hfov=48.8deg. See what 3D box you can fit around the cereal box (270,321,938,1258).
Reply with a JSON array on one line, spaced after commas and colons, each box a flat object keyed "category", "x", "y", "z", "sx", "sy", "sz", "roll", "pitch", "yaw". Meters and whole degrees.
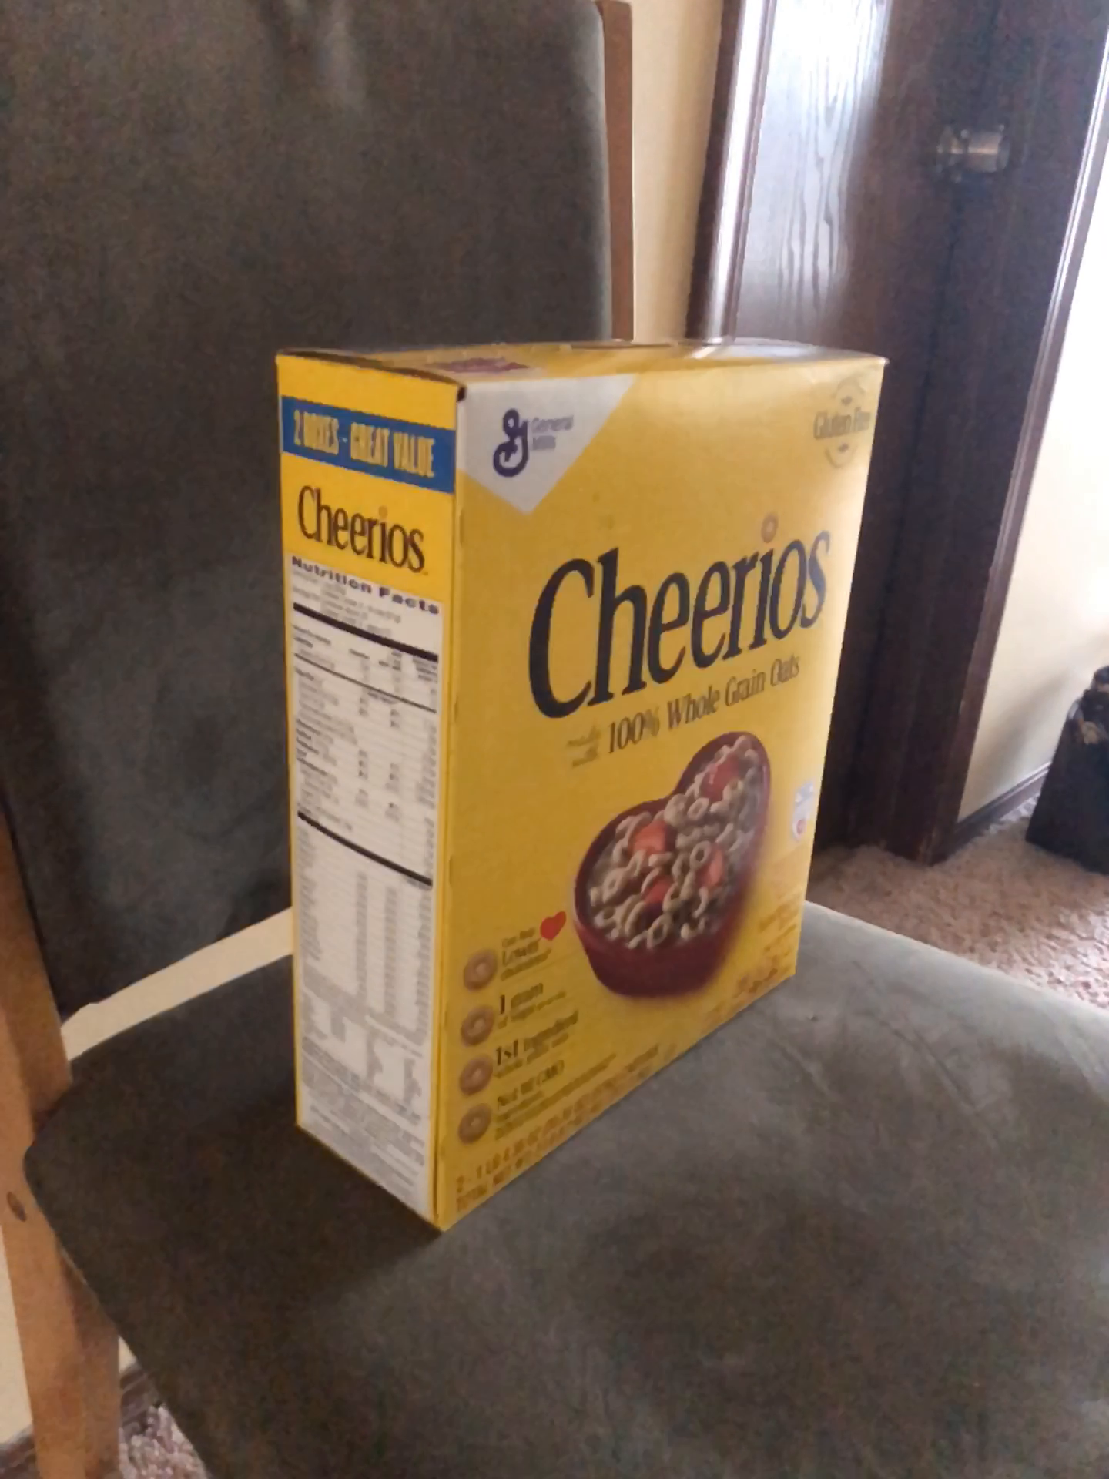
[{"category": "cereal box", "x": 0.025, "y": -0.003, "z": 0.488, "sx": 0.090, "sy": 0.299, "sz": 0.260, "roll": 22, "pitch": 29, "yaw": 36}]
